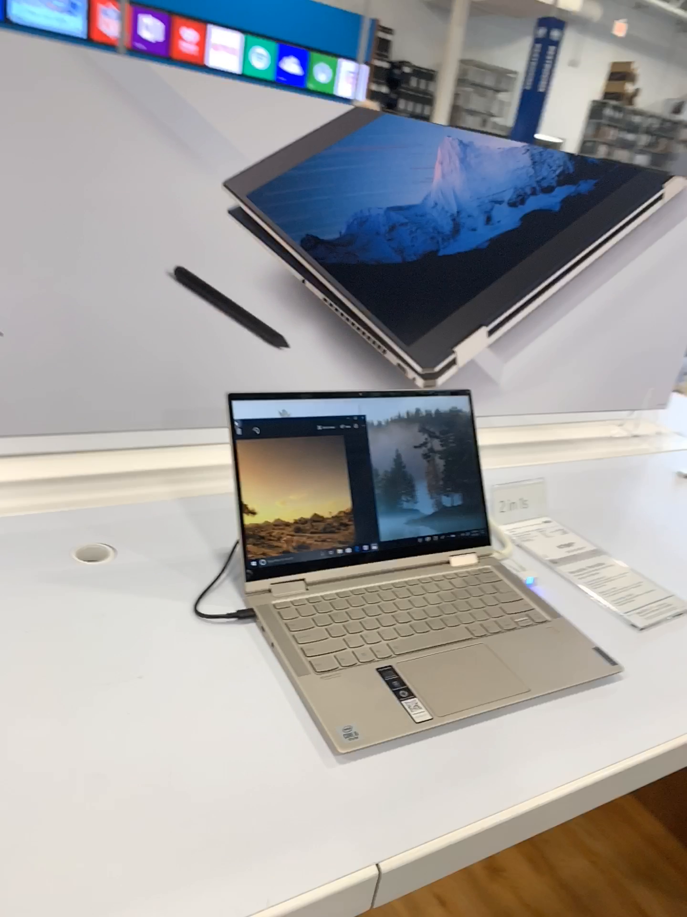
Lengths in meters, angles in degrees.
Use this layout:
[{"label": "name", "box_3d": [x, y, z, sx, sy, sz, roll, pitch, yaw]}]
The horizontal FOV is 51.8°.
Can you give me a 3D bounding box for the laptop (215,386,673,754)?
[{"label": "laptop", "box_3d": [0.074, 0.068, 0.719, 0.309, 0.170, 0.330, -4, 27, -28]}]
